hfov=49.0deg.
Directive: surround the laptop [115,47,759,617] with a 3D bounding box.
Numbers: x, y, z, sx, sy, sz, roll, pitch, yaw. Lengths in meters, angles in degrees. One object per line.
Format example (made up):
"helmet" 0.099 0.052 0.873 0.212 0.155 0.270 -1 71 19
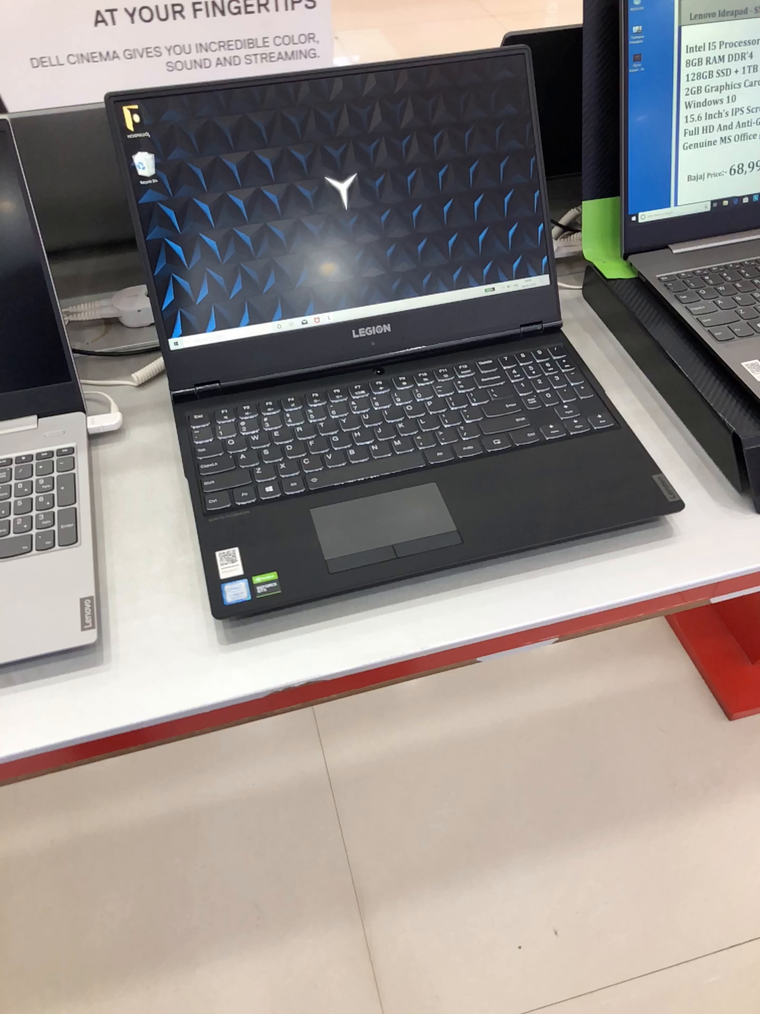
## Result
"laptop" 0.010 -0.154 0.614 0.334 0.191 0.349 -12 49 -11
